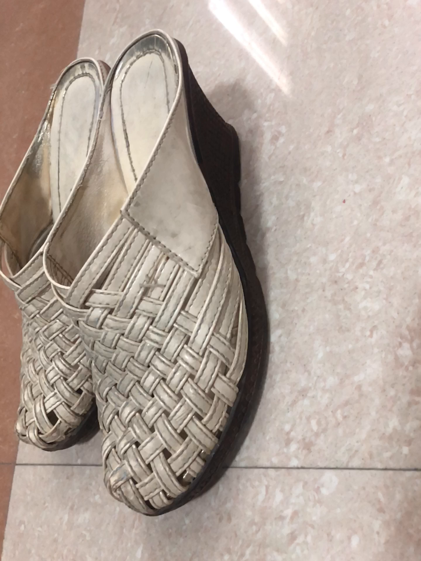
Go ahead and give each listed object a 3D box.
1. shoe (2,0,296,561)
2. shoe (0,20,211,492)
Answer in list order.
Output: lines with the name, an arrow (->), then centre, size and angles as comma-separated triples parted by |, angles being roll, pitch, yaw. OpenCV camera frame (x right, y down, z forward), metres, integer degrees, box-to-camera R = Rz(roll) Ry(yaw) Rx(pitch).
shoe -> -0.025, -0.005, 0.238 | 0.091, 0.080, 0.240 | -7, 72, 45
shoe -> -0.083, -0.013, 0.291 | 0.091, 0.080, 0.240 | 5, 80, 45
